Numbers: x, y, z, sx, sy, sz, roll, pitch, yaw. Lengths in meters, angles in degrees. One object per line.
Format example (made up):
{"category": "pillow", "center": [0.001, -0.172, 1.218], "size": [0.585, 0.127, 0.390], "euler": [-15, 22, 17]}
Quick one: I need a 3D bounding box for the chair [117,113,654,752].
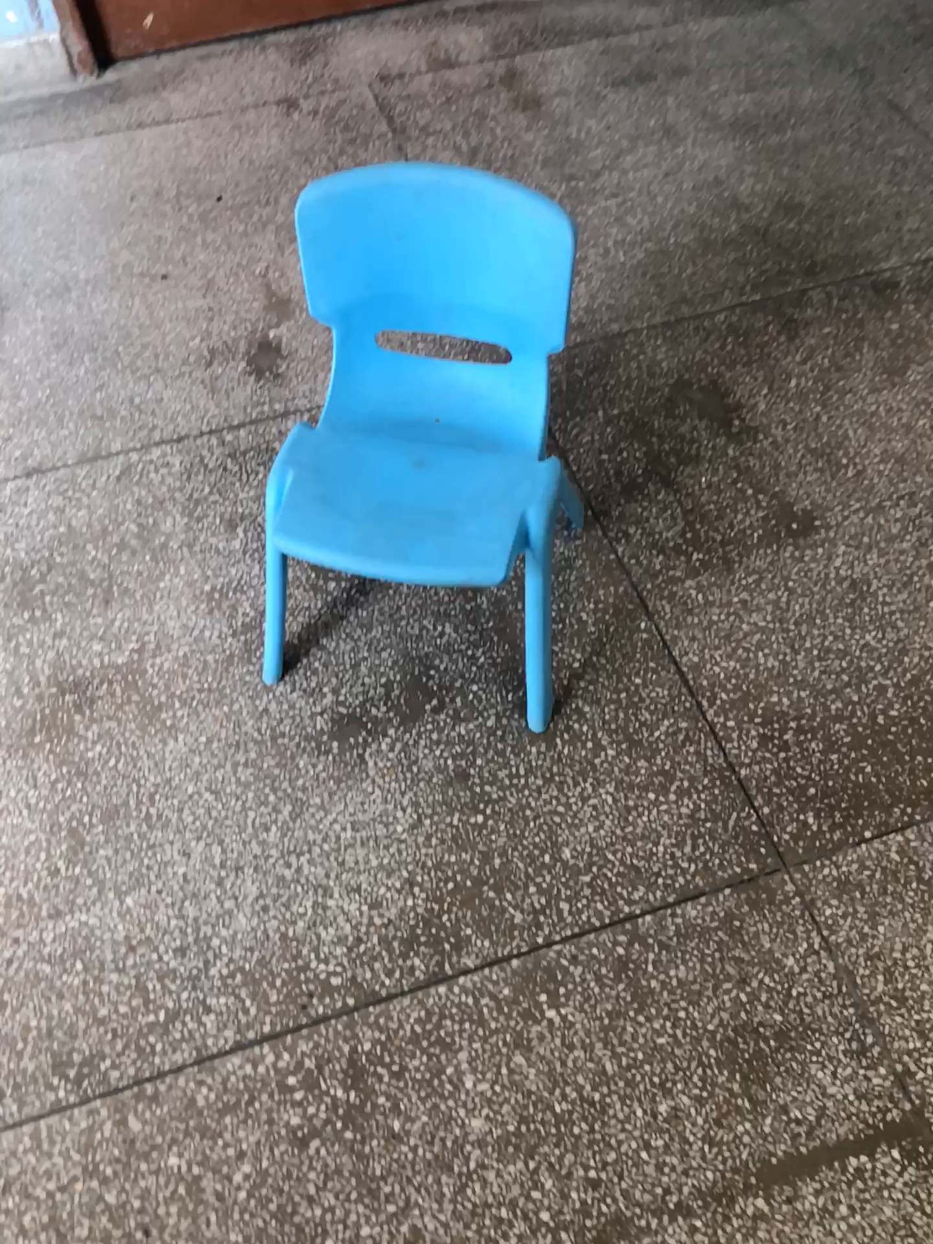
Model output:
{"category": "chair", "center": [-0.042, -0.184, 1.104], "size": [0.380, 0.499, 0.391], "euler": [10, 56, 9]}
